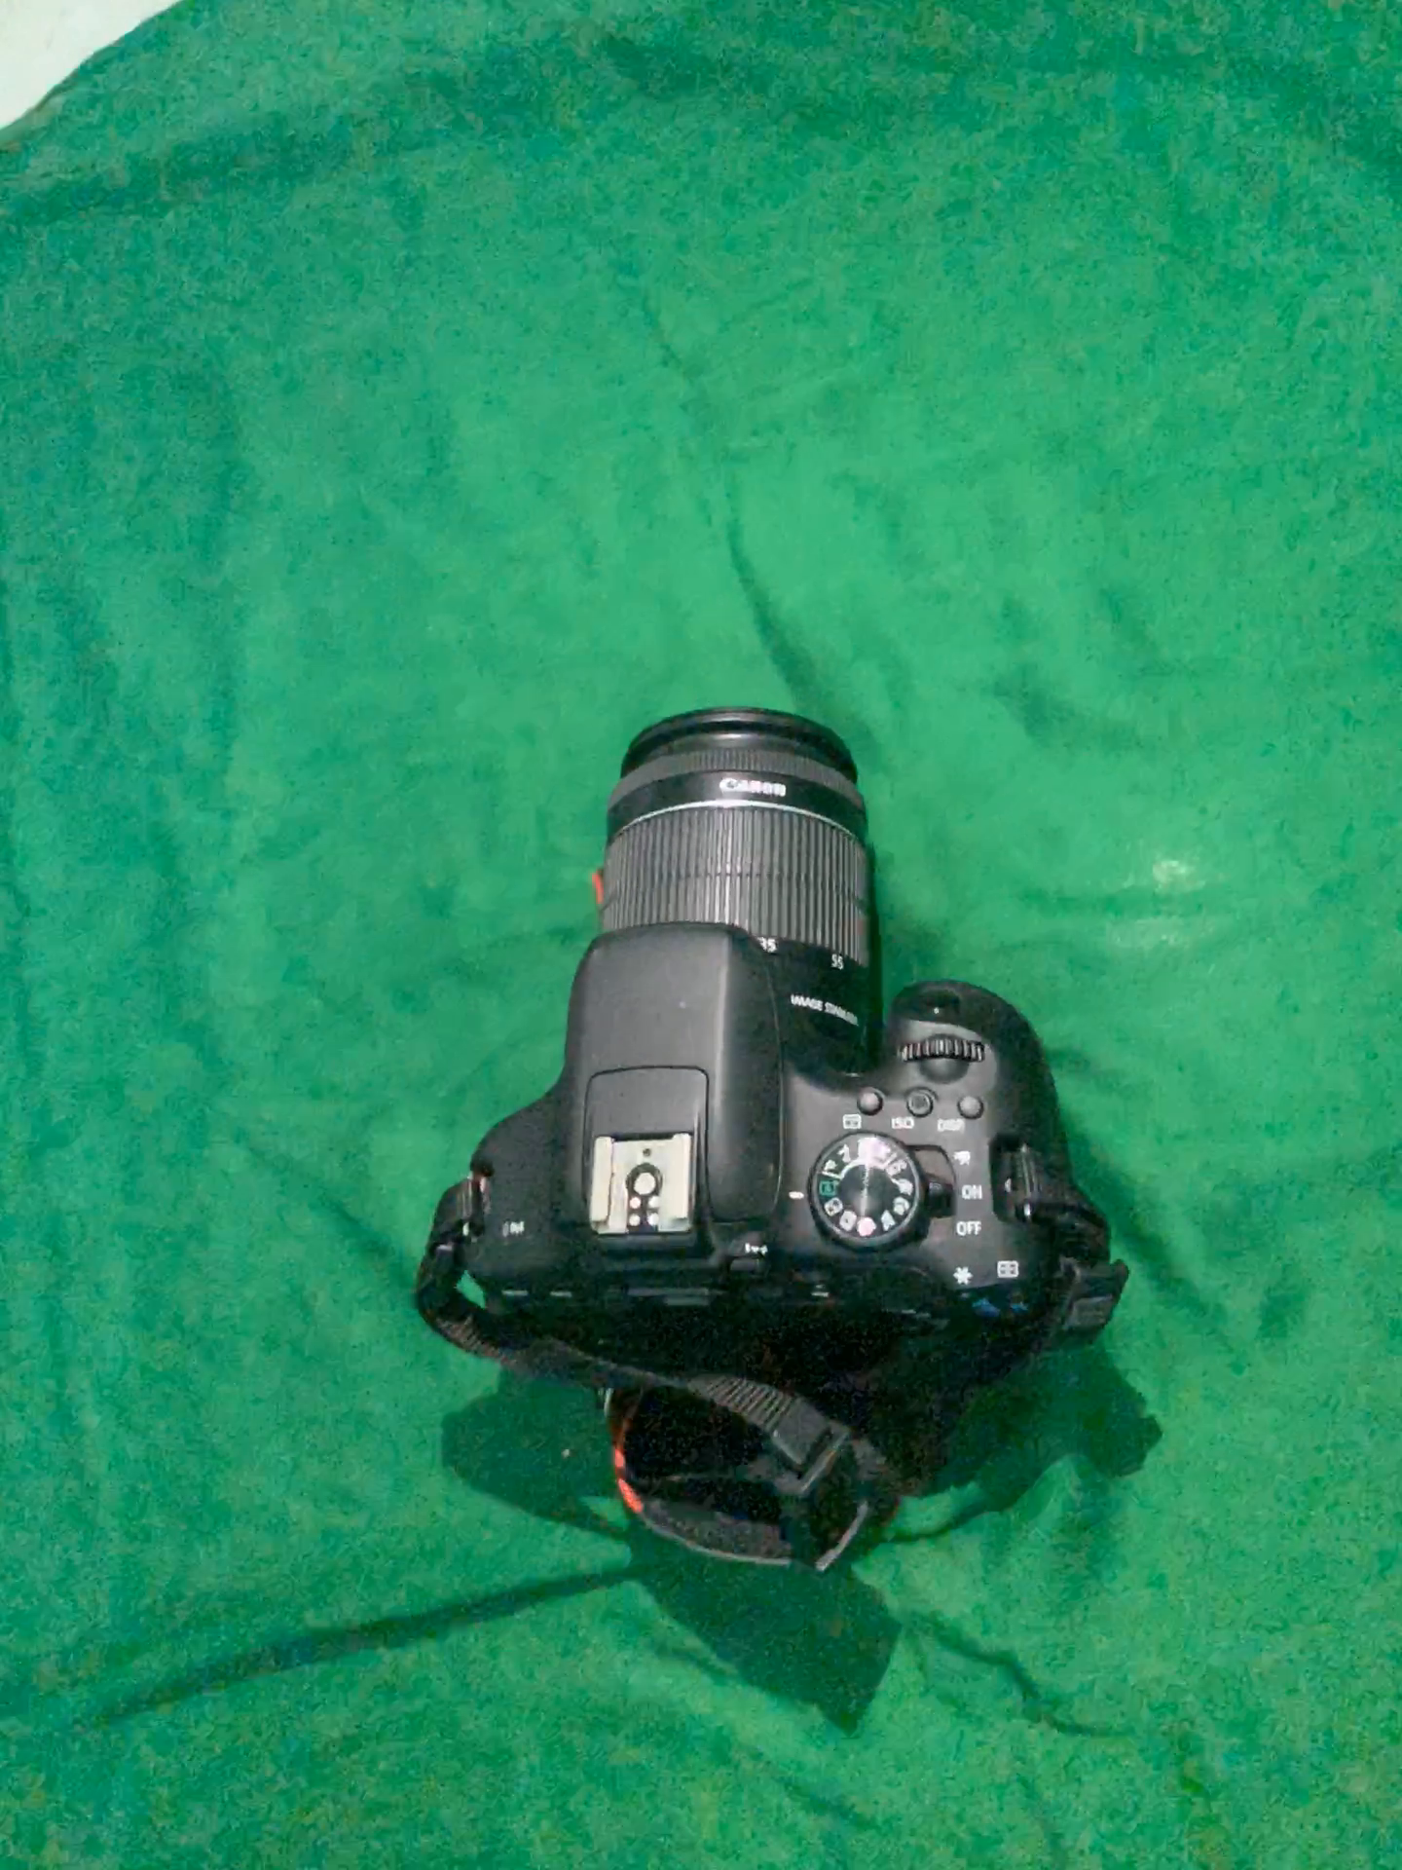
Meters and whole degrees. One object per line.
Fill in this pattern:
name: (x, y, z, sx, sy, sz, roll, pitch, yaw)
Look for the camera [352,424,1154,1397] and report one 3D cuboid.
camera: (0.012, 0.007, 0.348, 0.153, 0.100, 0.190, -10, 70, 19)
